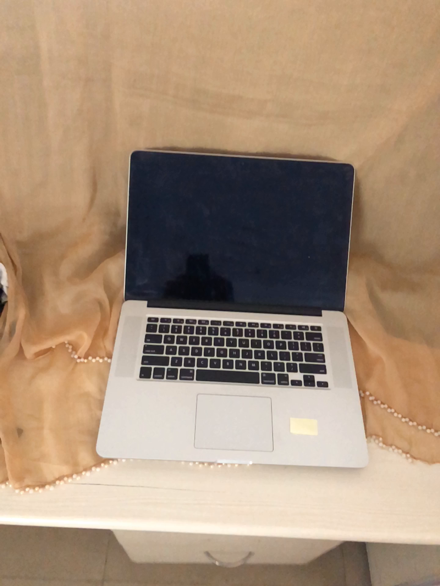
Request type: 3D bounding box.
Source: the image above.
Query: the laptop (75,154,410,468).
[{"bbox_3d":[0.026,0.006,0.658,0.336,0.135,0.407,3,54,-2],"label":"laptop"}]
